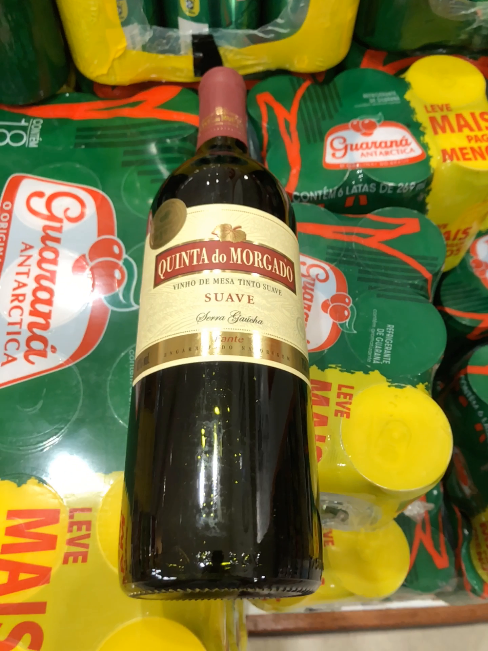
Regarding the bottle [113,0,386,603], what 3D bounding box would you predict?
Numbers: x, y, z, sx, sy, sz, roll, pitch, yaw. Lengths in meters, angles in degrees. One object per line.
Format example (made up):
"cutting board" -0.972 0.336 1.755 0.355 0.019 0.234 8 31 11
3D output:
"bottle" -0.006 -0.024 0.255 0.080 0.070 0.271 7 63 -17
